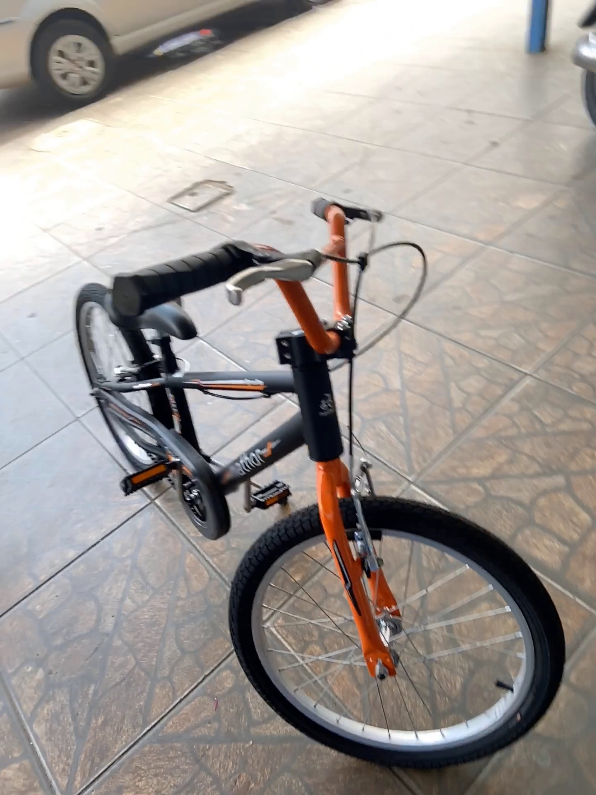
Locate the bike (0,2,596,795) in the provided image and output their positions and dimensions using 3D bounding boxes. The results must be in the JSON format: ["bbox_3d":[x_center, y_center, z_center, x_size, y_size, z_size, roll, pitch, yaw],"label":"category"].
[{"bbox_3d":[-0.113,-0.068,1.160,1.353,0.979,0.724,28,58,35],"label":"bike"}]
